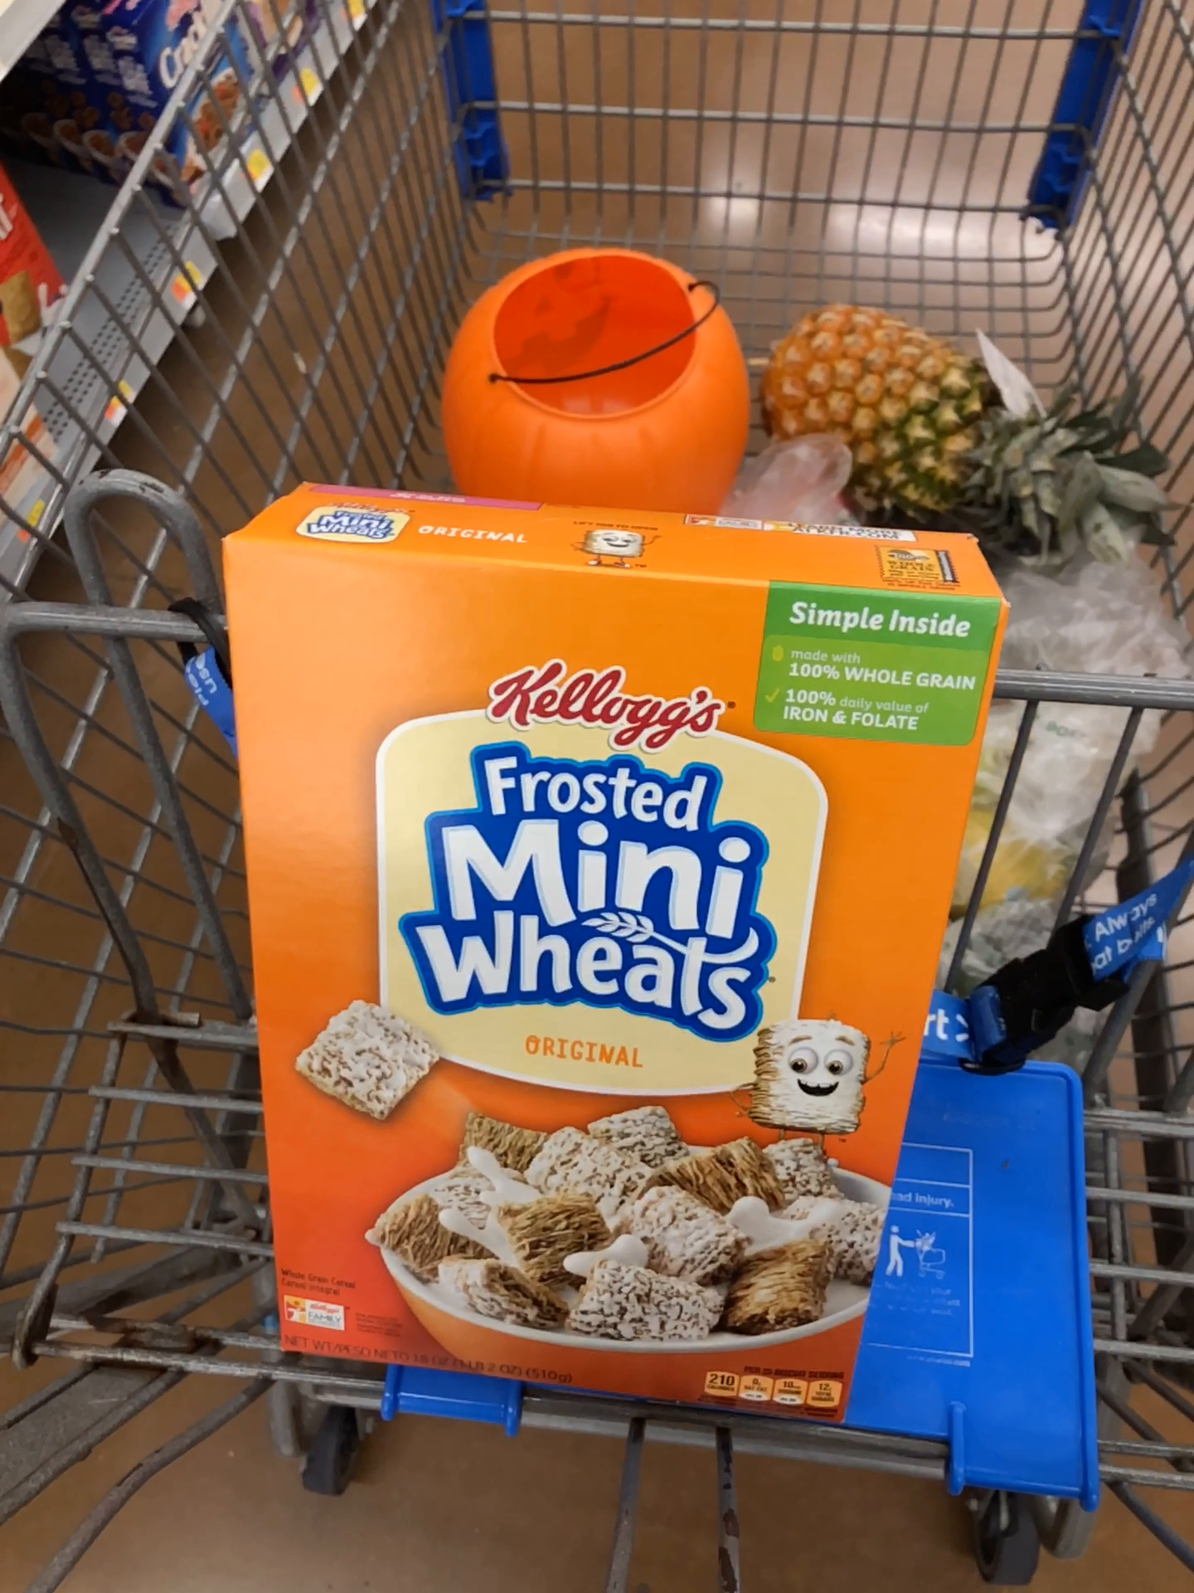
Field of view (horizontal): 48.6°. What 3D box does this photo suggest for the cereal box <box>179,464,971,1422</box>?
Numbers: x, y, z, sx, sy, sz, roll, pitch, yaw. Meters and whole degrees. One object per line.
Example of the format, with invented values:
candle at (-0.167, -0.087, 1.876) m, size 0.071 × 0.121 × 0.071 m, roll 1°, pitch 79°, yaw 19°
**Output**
cereal box at (-0.009, 0.055, 0.409) m, size 0.190 × 0.290 × 0.070 m, roll 3°, pitch 25°, yaw 2°
